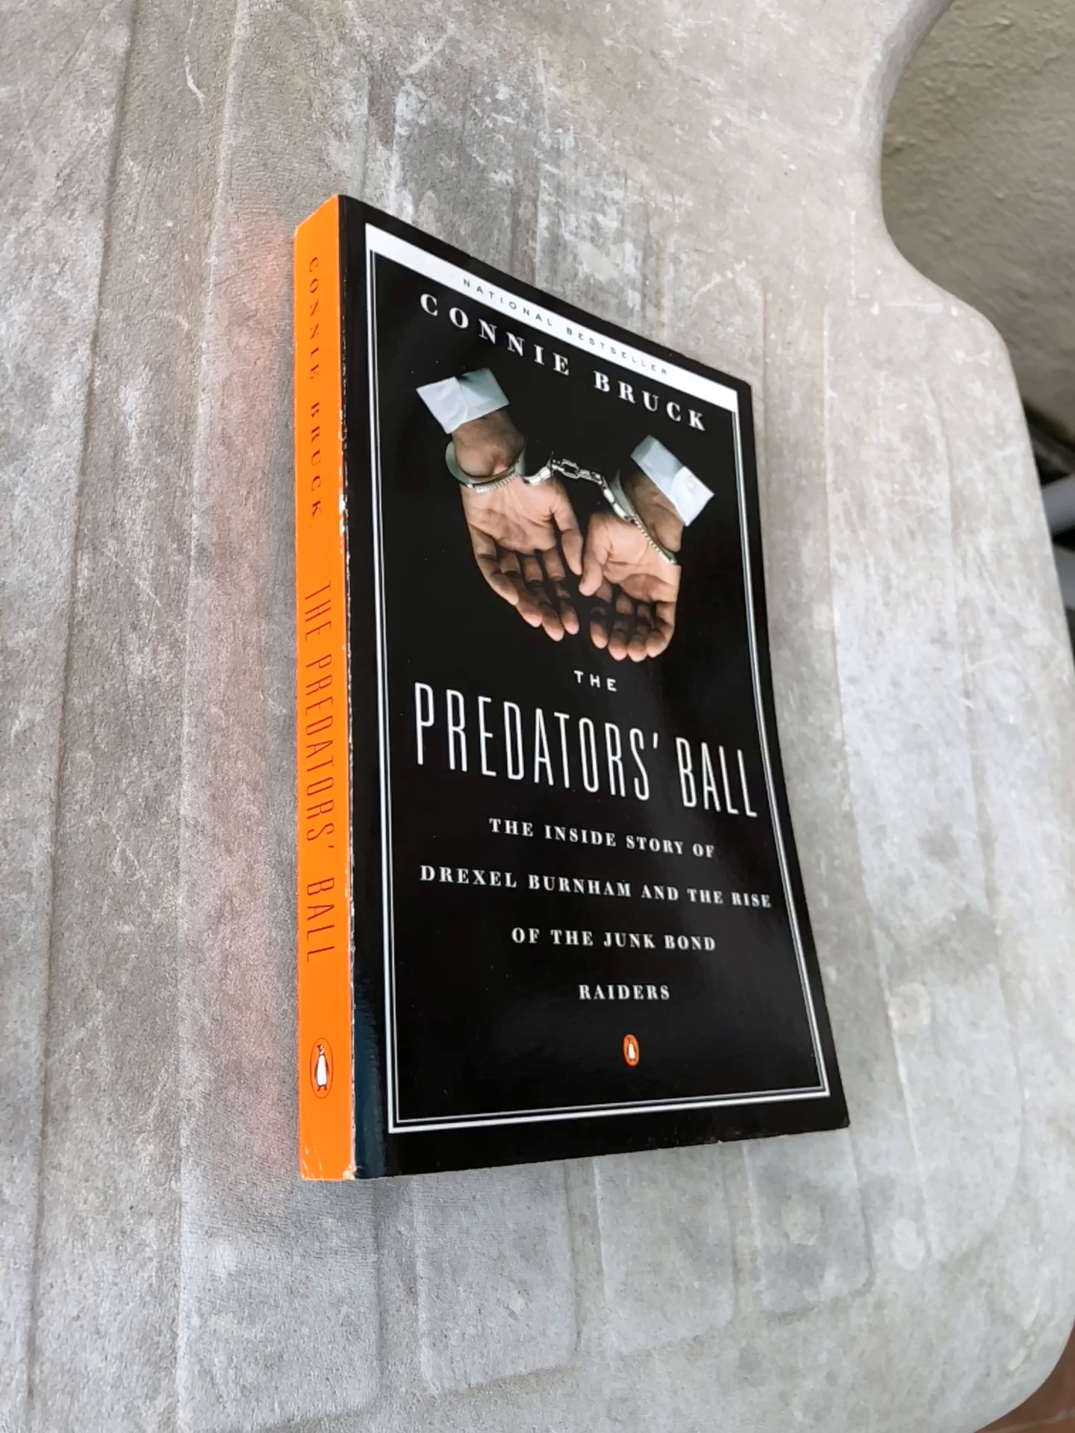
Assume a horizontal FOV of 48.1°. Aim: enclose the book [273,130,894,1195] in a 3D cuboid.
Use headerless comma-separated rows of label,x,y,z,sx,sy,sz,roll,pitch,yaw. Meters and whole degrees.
book,0.011,-0.010,0.276,0.141,0.030,0.210,10,68,-38
